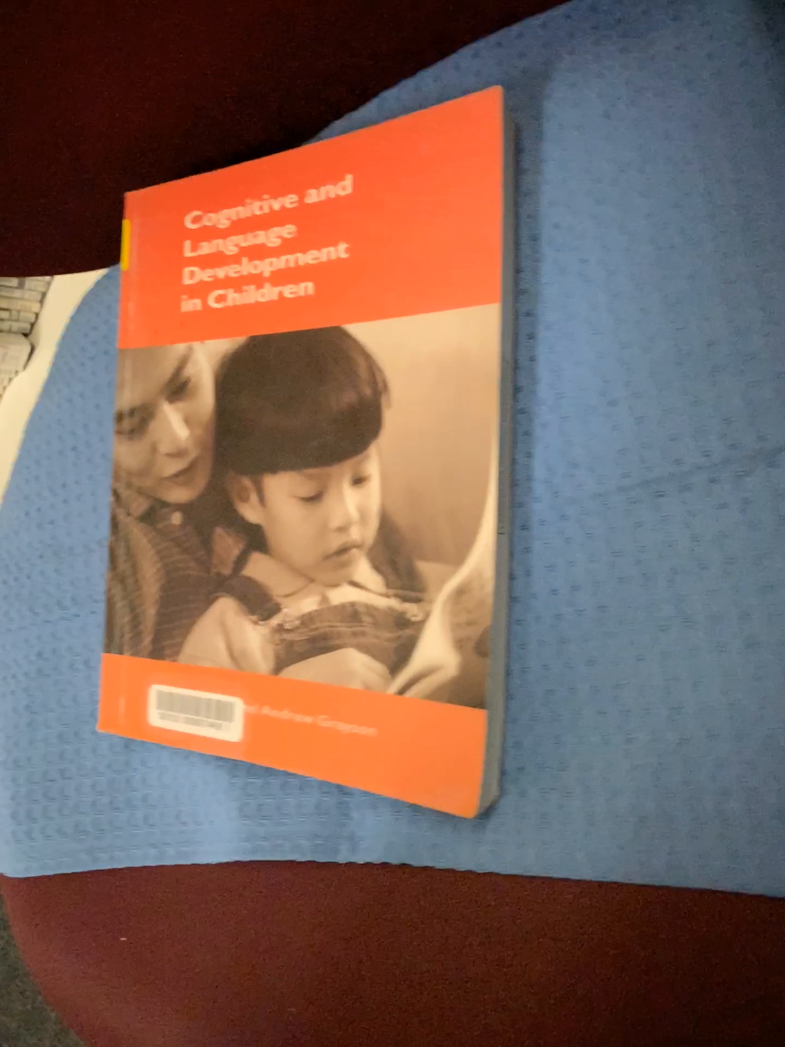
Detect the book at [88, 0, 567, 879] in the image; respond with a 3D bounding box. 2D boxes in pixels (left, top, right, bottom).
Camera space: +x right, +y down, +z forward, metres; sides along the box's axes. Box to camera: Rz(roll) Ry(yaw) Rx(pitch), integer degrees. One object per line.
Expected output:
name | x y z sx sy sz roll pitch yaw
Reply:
book | -0.037 -0.027 0.330 0.201 0.060 0.270 1 90 36
